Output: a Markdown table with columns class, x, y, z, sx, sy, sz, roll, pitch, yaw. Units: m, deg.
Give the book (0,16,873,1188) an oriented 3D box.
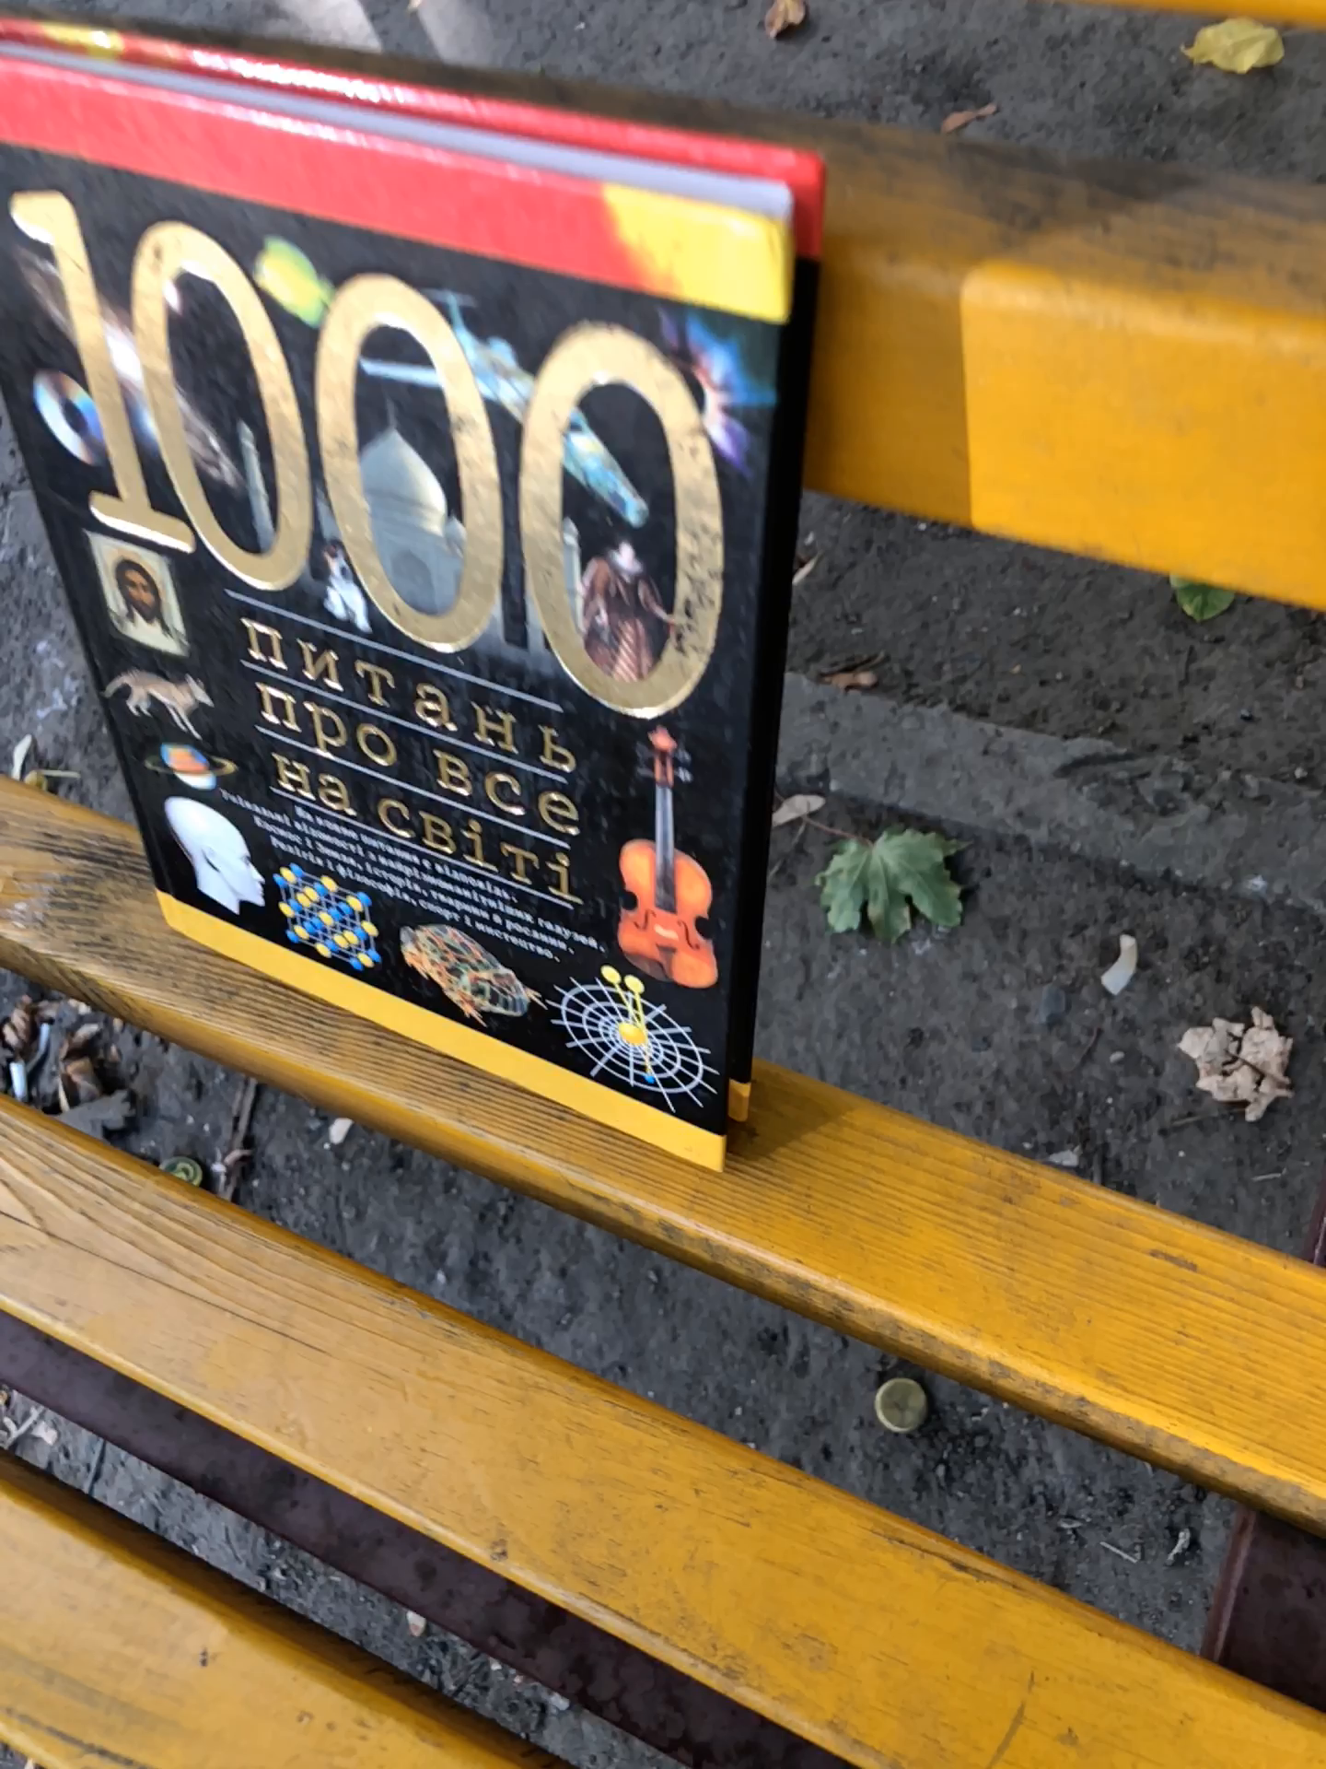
| class | x | y | z | sx | sy | sz | roll | pitch | yaw |
| --- | --- | --- | --- | --- | --- | --- | --- | --- | --- |
| book | -0.055 | -0.045 | 0.294 | 0.172 | 0.201 | 0.032 | 21 | 46 | 20 |
